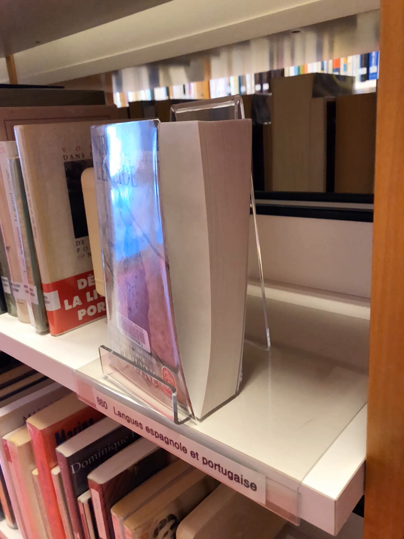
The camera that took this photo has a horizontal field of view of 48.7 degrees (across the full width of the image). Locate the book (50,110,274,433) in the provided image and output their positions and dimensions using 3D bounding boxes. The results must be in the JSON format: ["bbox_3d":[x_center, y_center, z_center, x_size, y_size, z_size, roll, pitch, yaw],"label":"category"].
[{"bbox_3d":[-0.028,-0.010,0.296,0.074,0.168,0.131,-16,19,-36],"label":"book"}]
